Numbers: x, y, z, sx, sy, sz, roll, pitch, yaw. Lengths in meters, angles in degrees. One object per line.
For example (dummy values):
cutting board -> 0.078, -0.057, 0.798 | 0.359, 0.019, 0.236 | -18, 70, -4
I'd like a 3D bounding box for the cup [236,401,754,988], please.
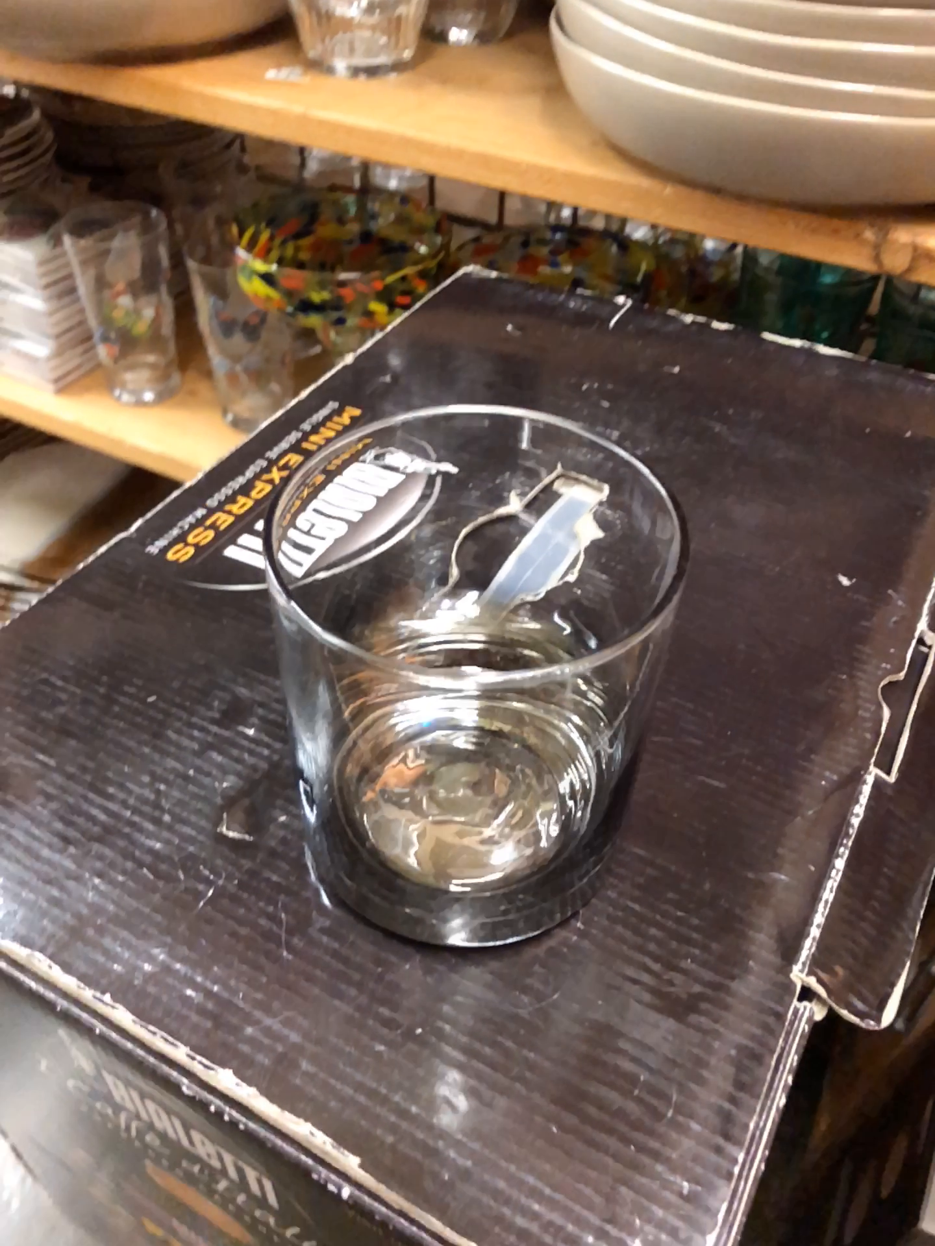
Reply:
cup -> 0.000, 0.015, 0.234 | 0.085, 0.093, 0.090 | 1, 44, -1
